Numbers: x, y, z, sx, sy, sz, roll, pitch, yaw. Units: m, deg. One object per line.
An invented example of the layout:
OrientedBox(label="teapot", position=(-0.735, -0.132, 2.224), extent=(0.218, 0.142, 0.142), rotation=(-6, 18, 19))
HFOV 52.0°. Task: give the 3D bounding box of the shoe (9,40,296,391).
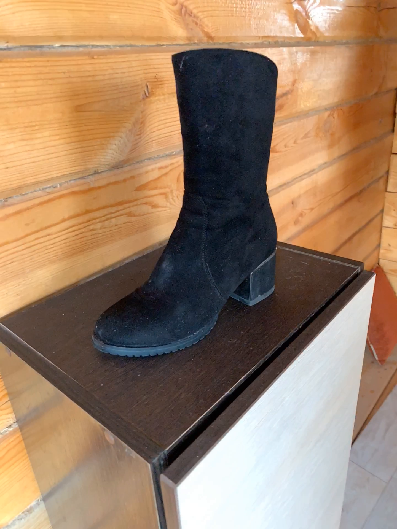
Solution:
OrientedBox(label="shoe", position=(-0.017, -0.064, 0.403), extent=(0.233, 0.268, 0.100), rotation=(-25, 31, -37))
